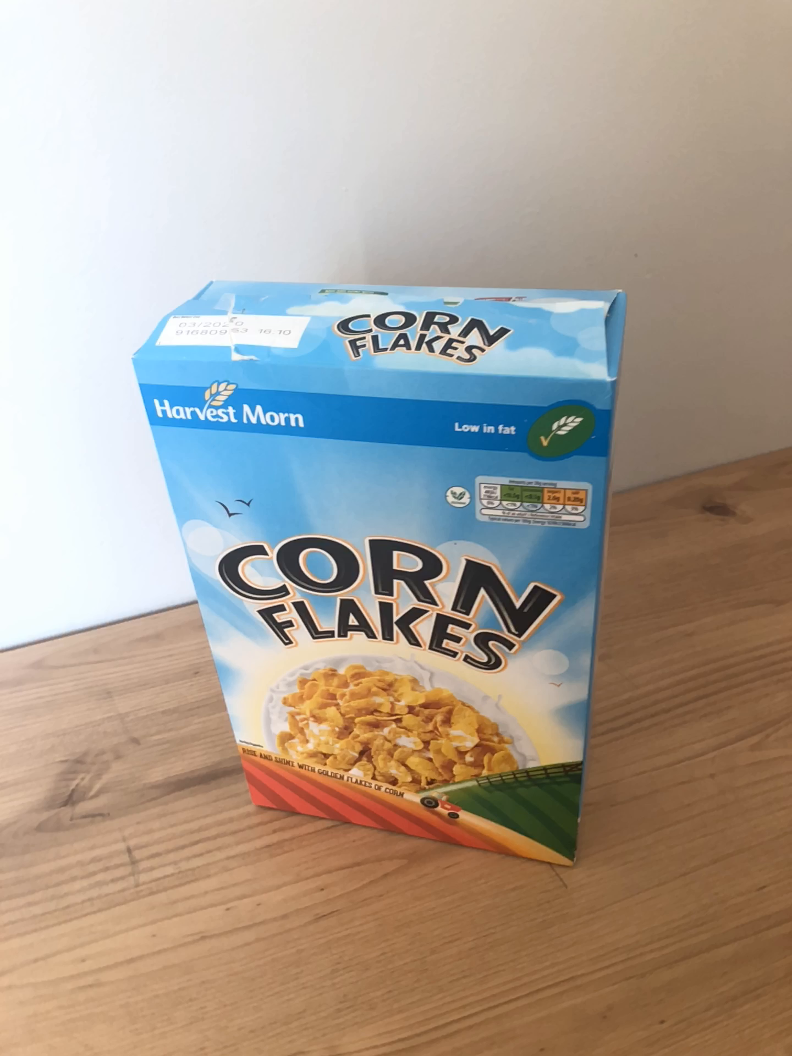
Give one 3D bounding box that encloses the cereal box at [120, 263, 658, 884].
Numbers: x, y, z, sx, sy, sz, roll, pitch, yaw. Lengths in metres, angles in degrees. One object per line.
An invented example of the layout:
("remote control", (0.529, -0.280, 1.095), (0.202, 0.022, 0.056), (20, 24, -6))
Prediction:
("cereal box", (0.010, 0.035, 0.441), (0.200, 0.308, 0.081), (6, 38, 15))
